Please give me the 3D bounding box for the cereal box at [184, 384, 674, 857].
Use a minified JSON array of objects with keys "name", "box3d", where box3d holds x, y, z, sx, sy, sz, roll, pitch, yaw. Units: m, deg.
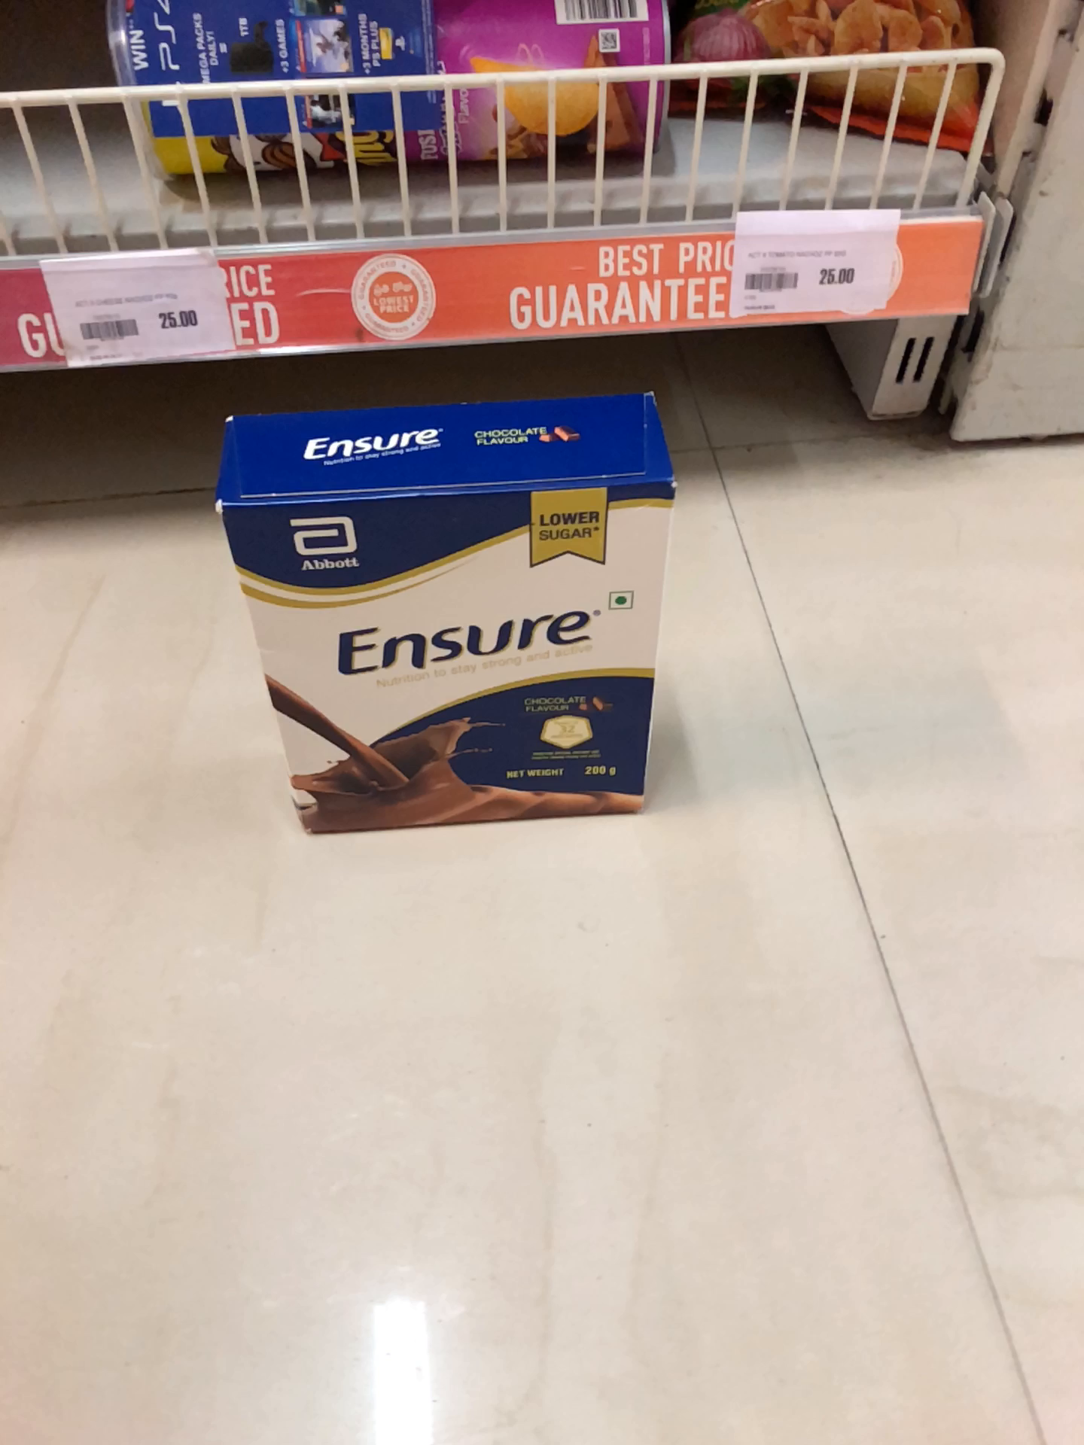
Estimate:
[{"name":"cereal box","box3d":[-0.033,-0.027,0.428,0.140,0.179,0.050,-4,51,-3]}]
